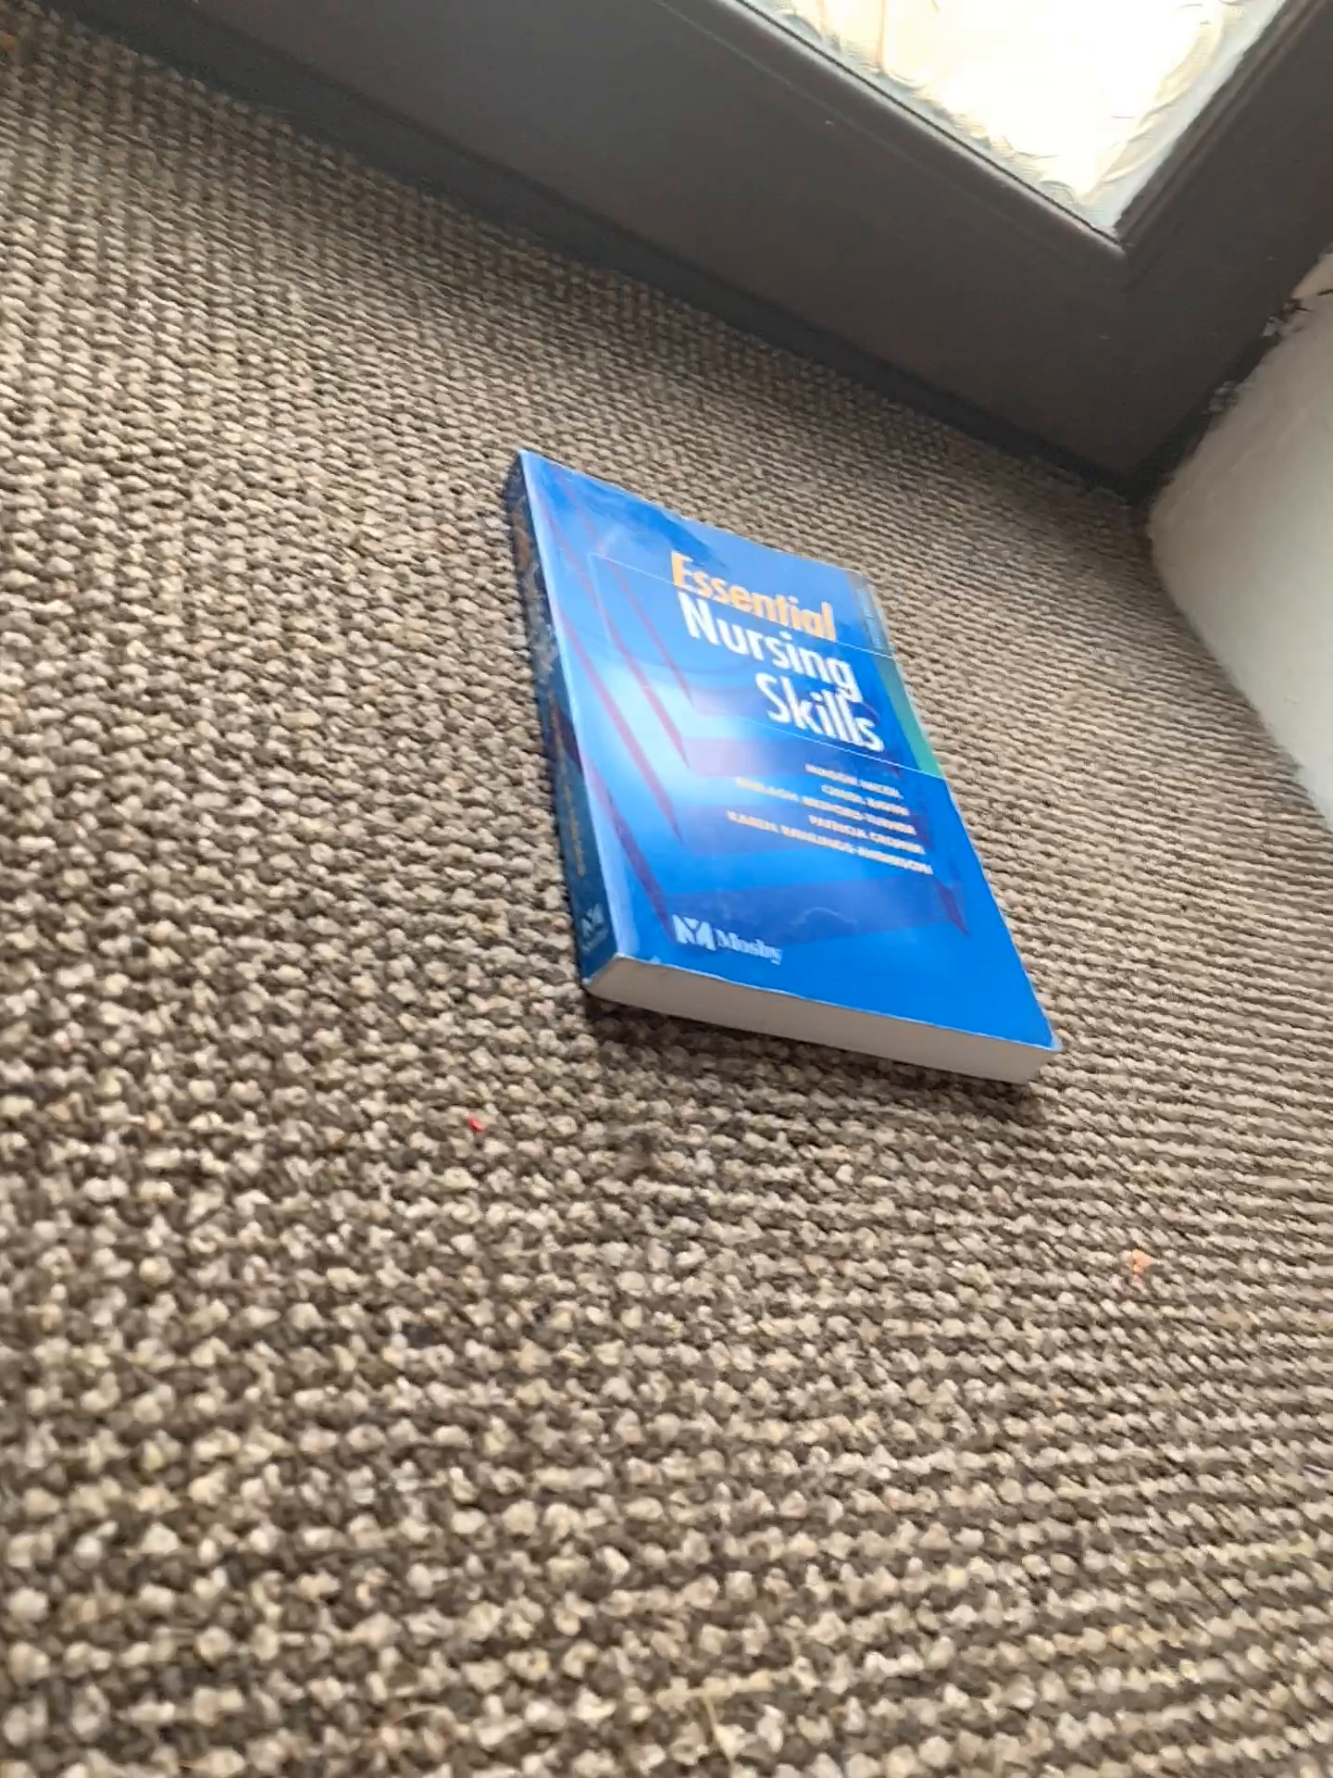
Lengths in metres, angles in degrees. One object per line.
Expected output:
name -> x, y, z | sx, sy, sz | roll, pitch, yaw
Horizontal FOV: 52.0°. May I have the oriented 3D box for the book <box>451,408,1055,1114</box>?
book -> 0.019, -0.050, 0.453 | 0.170, 0.020, 0.252 | 13, 46, -28
